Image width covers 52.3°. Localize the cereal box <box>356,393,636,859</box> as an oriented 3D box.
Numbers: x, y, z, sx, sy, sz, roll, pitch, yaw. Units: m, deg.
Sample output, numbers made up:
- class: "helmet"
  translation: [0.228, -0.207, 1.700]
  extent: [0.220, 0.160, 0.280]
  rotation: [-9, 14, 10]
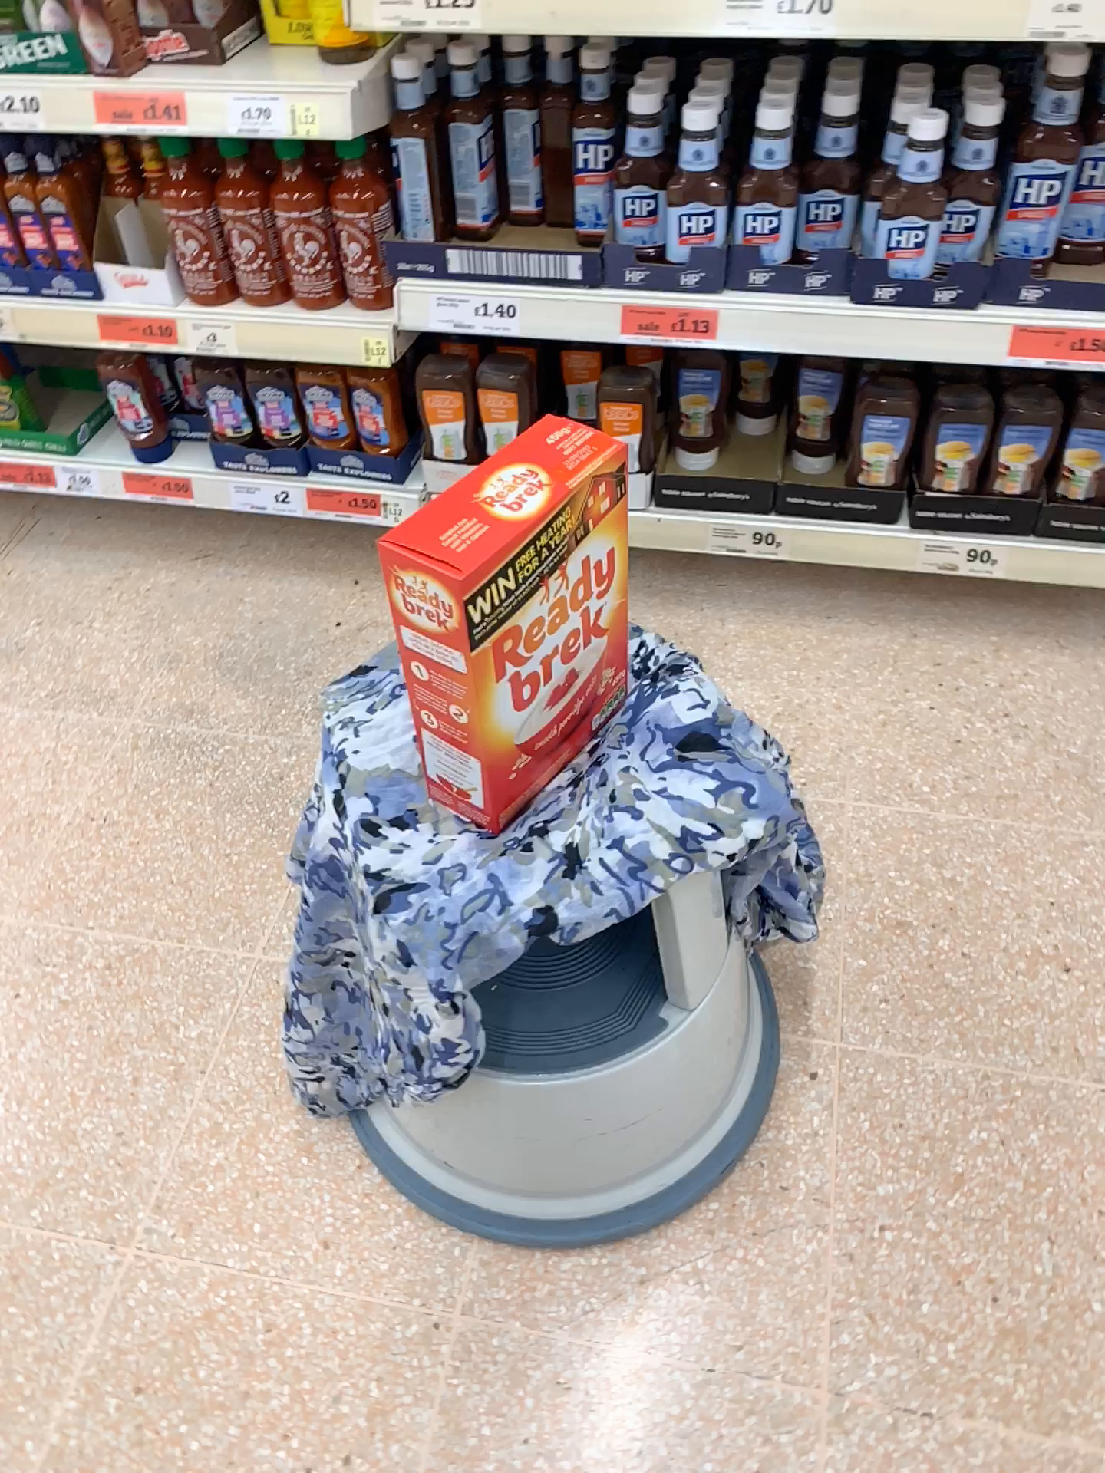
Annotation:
- class: "cereal box"
  translation: [-0.021, -0.064, 0.714]
  extent: [0.060, 0.238, 0.171]
  rotation: [28, 55, 27]
